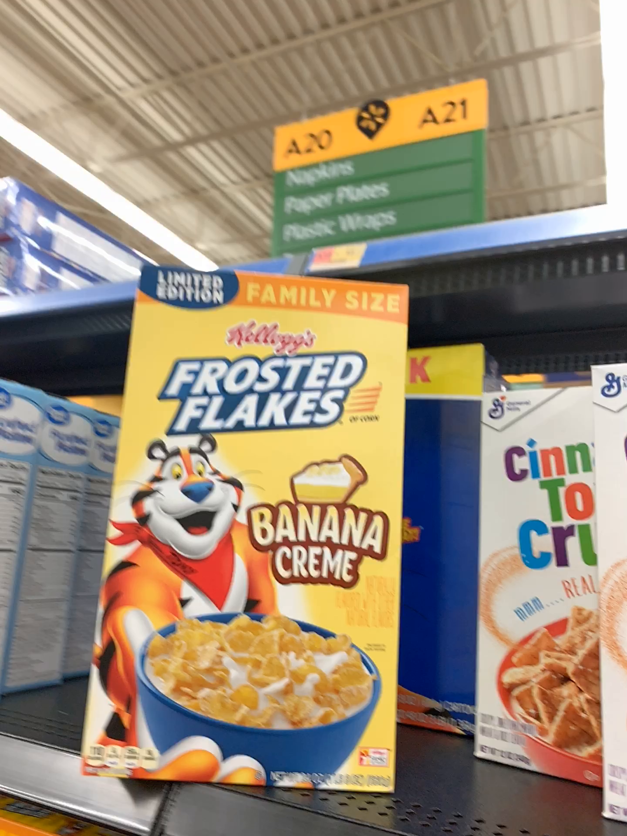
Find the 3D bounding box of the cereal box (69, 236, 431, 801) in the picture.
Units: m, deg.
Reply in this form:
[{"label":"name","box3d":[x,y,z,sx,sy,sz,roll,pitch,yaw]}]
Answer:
[{"label":"cereal box","box3d":[-0.032,0.059,0.450,0.200,0.341,0.080,4,-11,-3]}]
